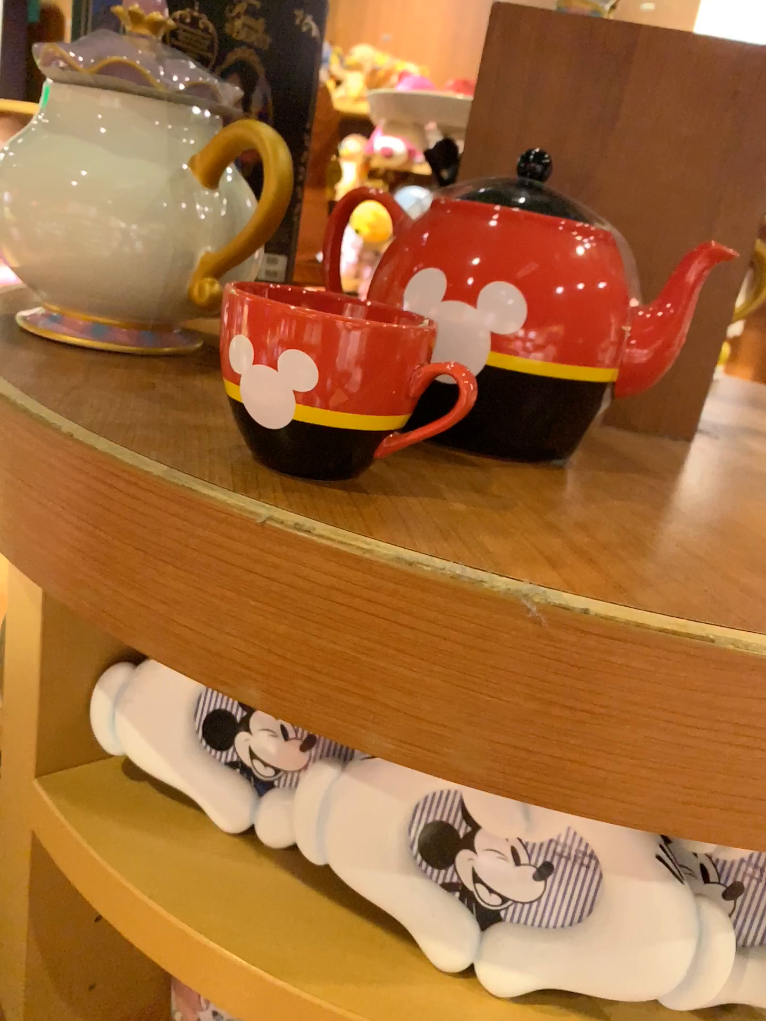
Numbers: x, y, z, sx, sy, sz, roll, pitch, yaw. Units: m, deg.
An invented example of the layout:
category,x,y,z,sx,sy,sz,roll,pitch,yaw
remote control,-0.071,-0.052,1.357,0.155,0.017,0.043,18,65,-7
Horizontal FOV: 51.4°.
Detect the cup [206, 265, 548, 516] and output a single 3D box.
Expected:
category,x,y,z,sx,sy,sz,roll,pitch,yaw
cup,-0.003,-0.052,0.314,0.100,0.065,0.078,21,22,28
